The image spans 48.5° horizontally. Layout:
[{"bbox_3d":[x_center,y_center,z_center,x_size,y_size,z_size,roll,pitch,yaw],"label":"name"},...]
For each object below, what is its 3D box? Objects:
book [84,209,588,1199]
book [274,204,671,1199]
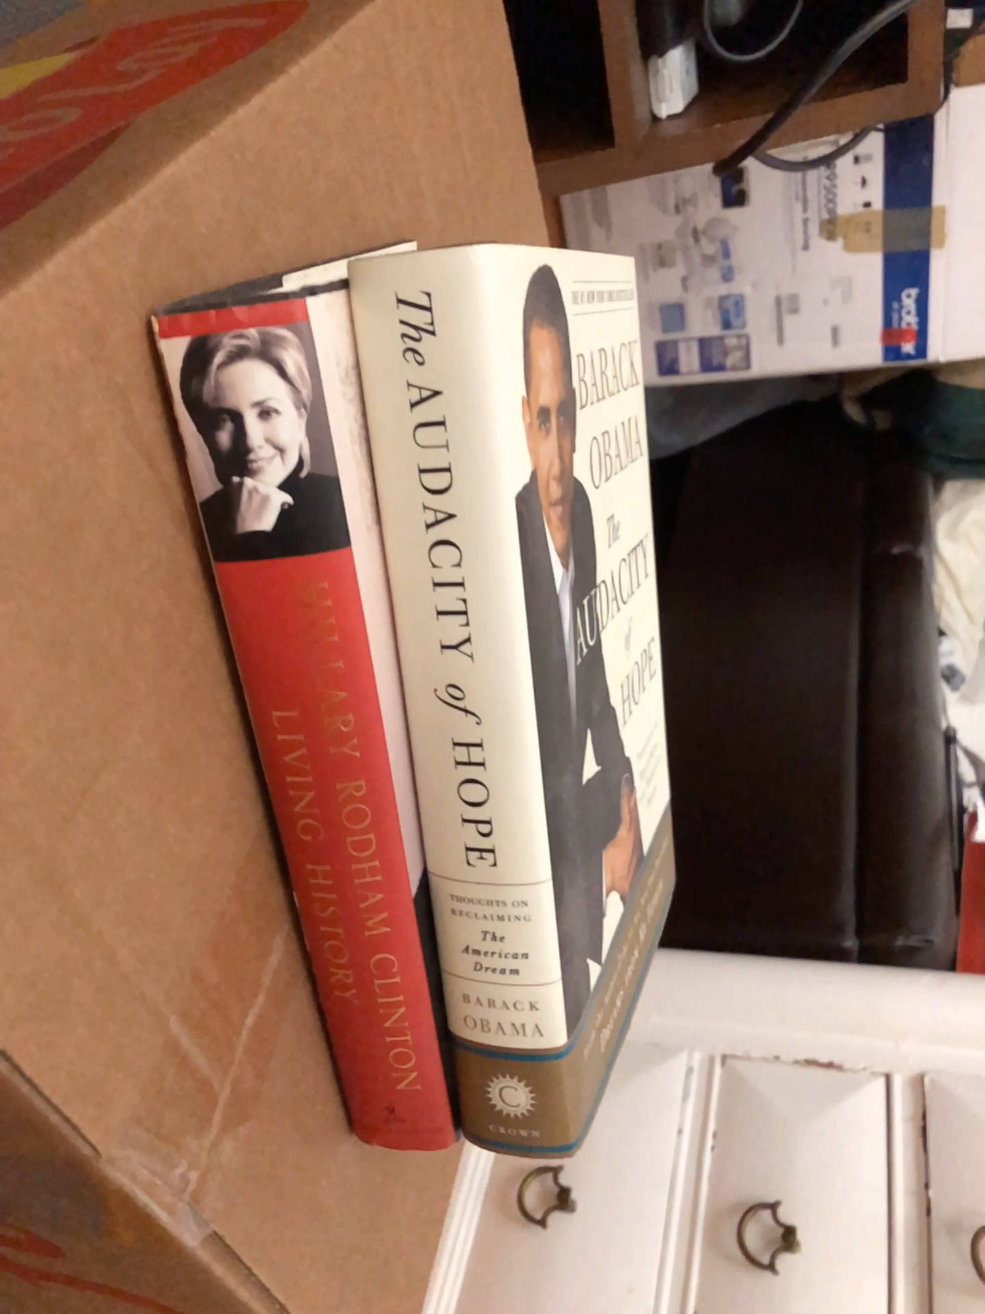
[{"bbox_3d":[-0.021,0.003,0.338,0.171,0.040,0.250,-55,141,-60],"label":"book"},{"bbox_3d":[0.015,-0.002,0.350,0.191,0.040,0.250,-46,133,-64],"label":"book"}]
